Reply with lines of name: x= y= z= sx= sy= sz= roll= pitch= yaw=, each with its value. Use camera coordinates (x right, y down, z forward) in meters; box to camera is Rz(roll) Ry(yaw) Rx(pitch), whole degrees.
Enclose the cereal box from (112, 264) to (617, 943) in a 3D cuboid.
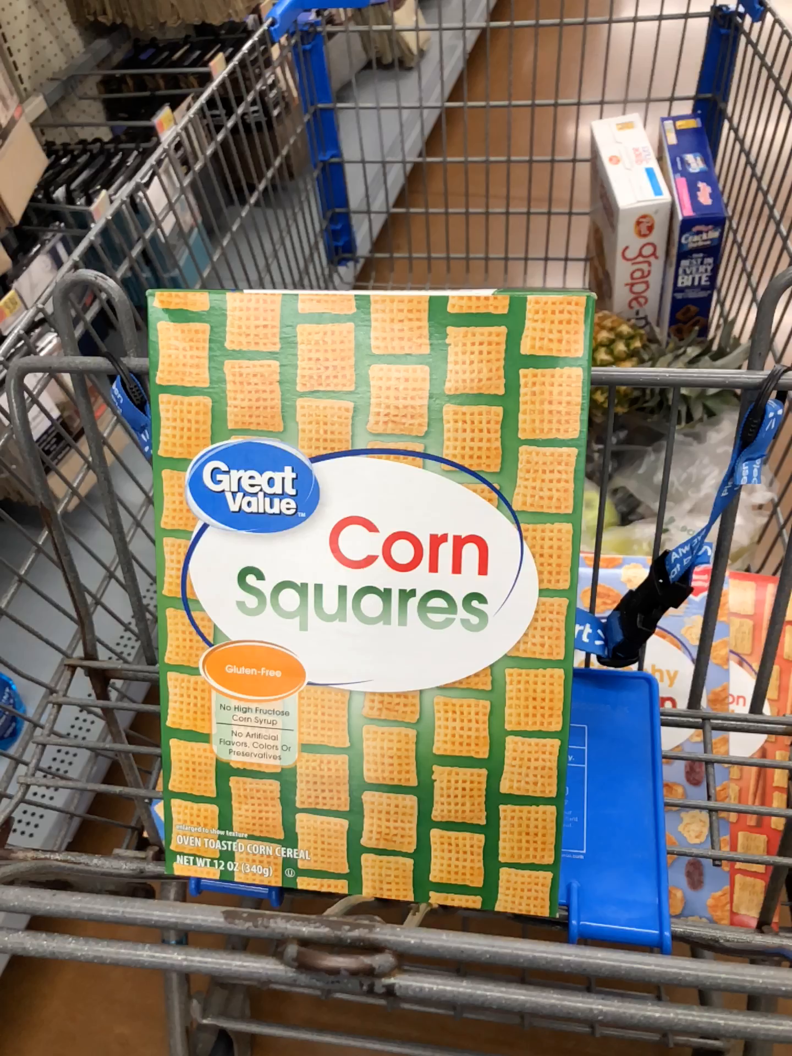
cereal box: x=-0.012 y=0.030 z=0.399 sx=0.200 sy=0.280 sz=0.070 roll=2 pitch=10 yaw=9
